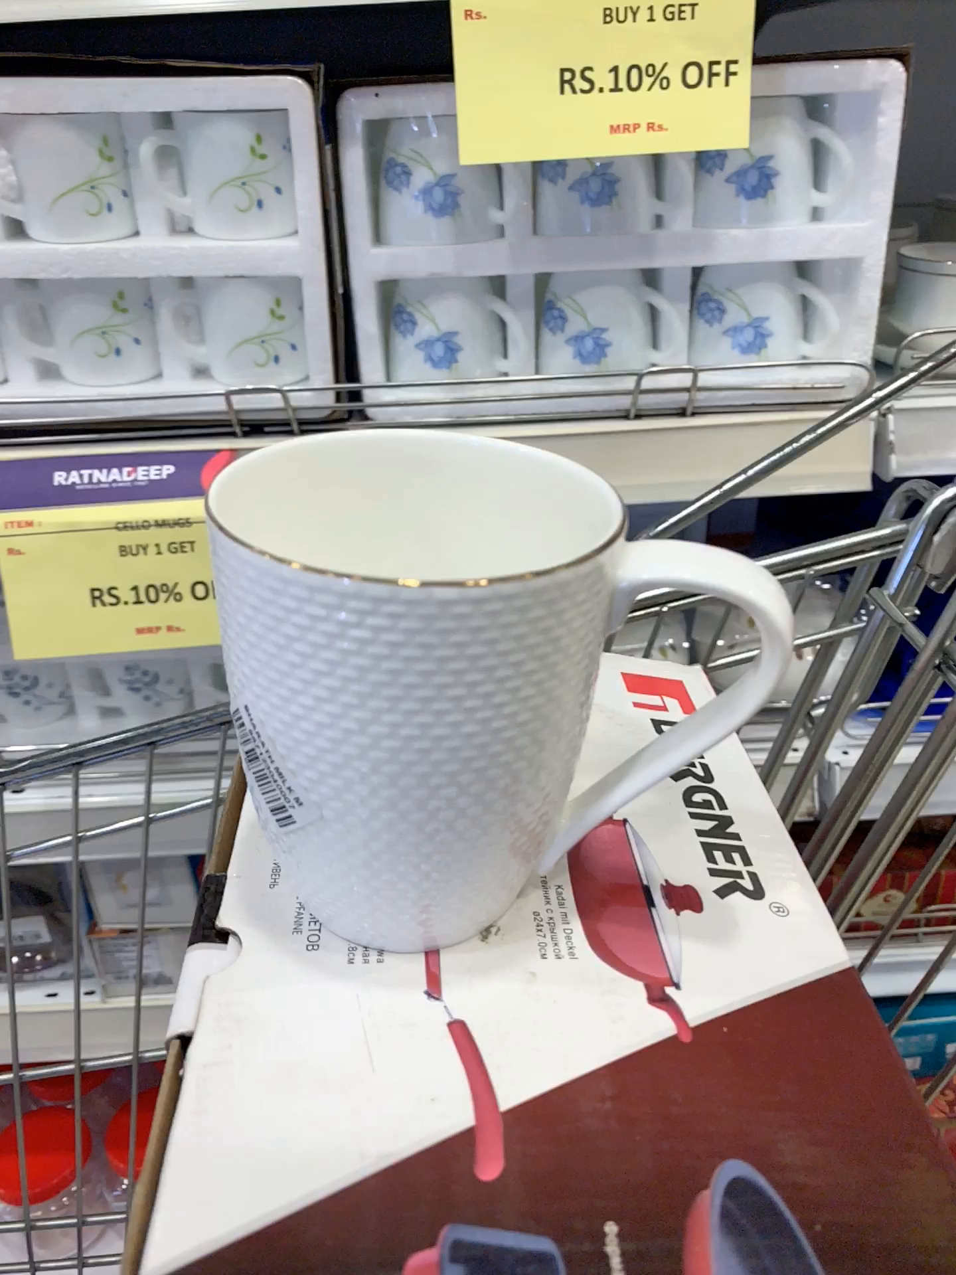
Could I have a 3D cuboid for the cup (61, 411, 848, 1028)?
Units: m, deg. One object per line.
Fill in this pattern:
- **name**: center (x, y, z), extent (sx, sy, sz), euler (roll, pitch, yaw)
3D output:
- **cup**: center (0.000, 0.009, 0.207), extent (0.120, 0.080, 0.090), euler (5, 30, 8)
